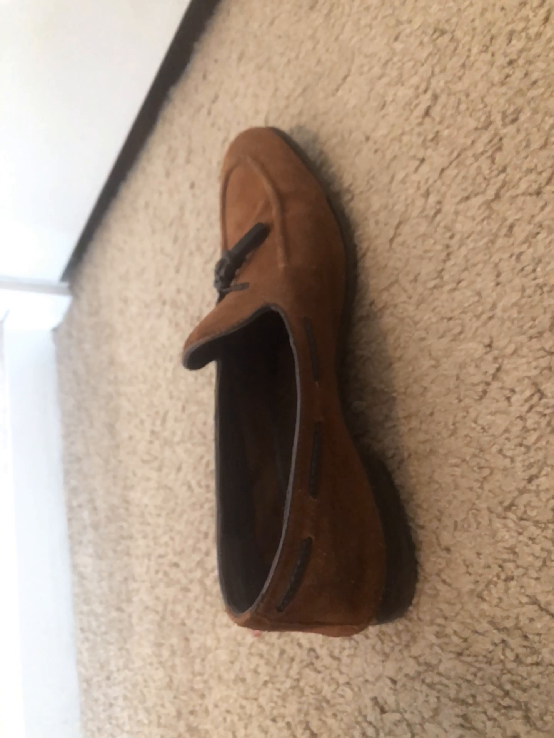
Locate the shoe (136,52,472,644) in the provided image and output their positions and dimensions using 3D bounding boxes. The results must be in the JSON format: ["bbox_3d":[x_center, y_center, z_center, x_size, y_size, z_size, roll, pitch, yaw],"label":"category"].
[{"bbox_3d":[0.000,-0.015,0.344,0.091,0.099,0.292,-36,59,52],"label":"shoe"}]
